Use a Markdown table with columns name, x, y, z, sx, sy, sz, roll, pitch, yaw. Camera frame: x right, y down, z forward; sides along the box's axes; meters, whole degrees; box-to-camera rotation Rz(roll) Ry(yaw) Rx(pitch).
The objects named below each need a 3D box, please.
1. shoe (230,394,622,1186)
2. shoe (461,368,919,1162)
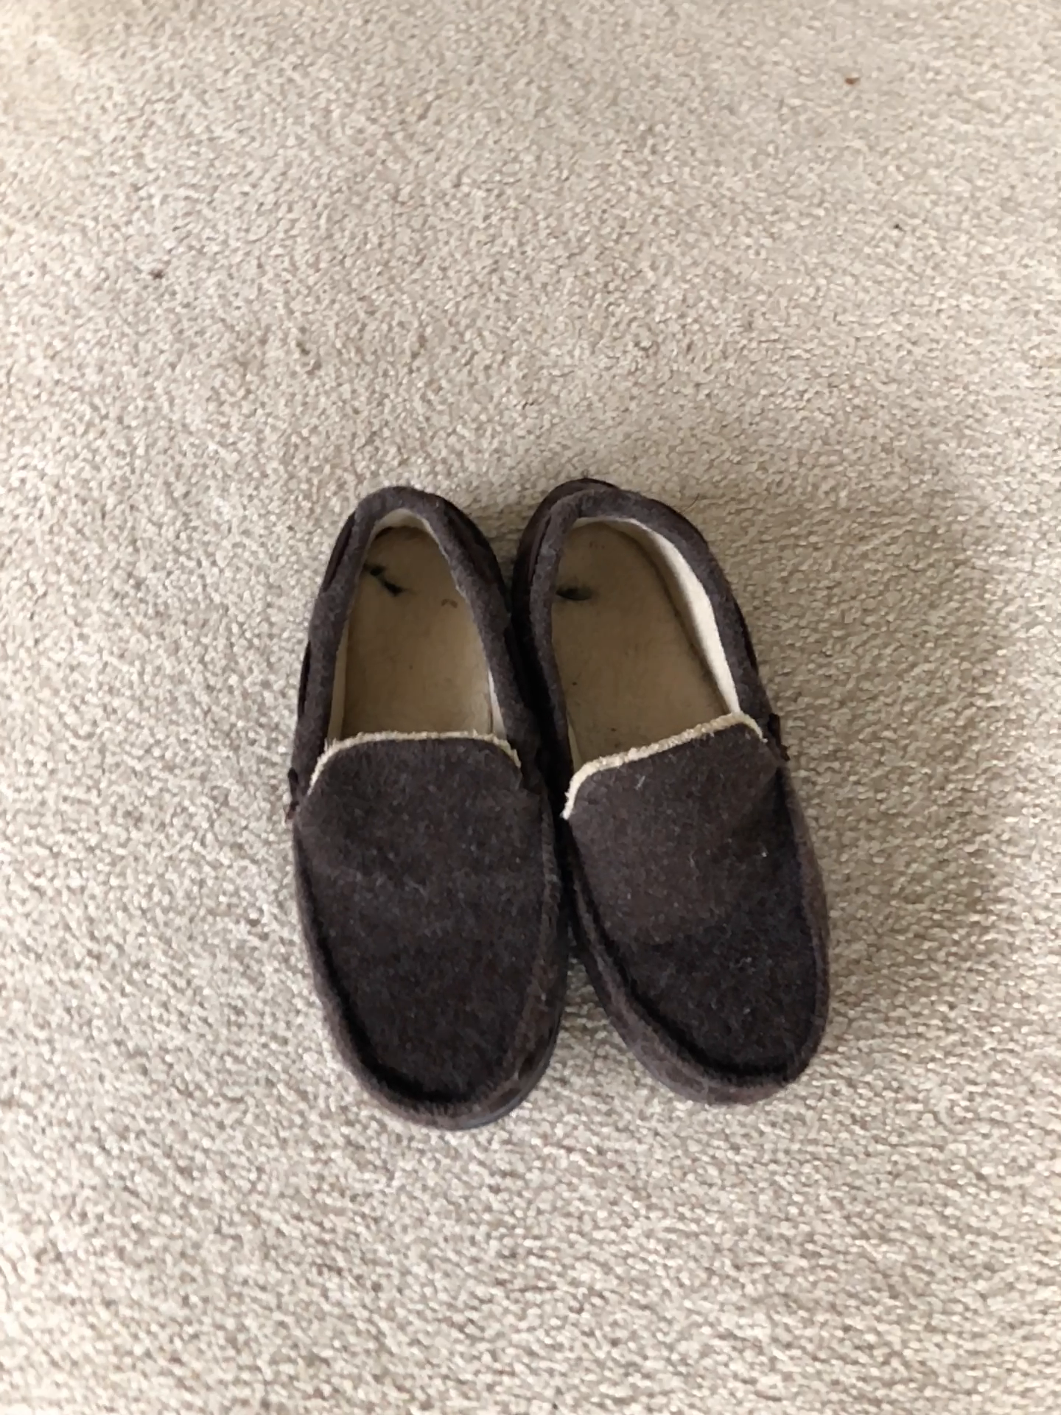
| name | x | y | z | sx | sy | sz | roll | pitch | yaw |
| --- | --- | --- | --- | --- | --- | --- | --- | --- | --- |
| shoe | -0.050 | 0.032 | 0.525 | 0.120 | 0.096 | 0.317 | -9 | 75 | -2 |
| shoe | 0.058 | 0.021 | 0.523 | 0.118 | 0.096 | 0.316 | -11 | 75 | -3 |
